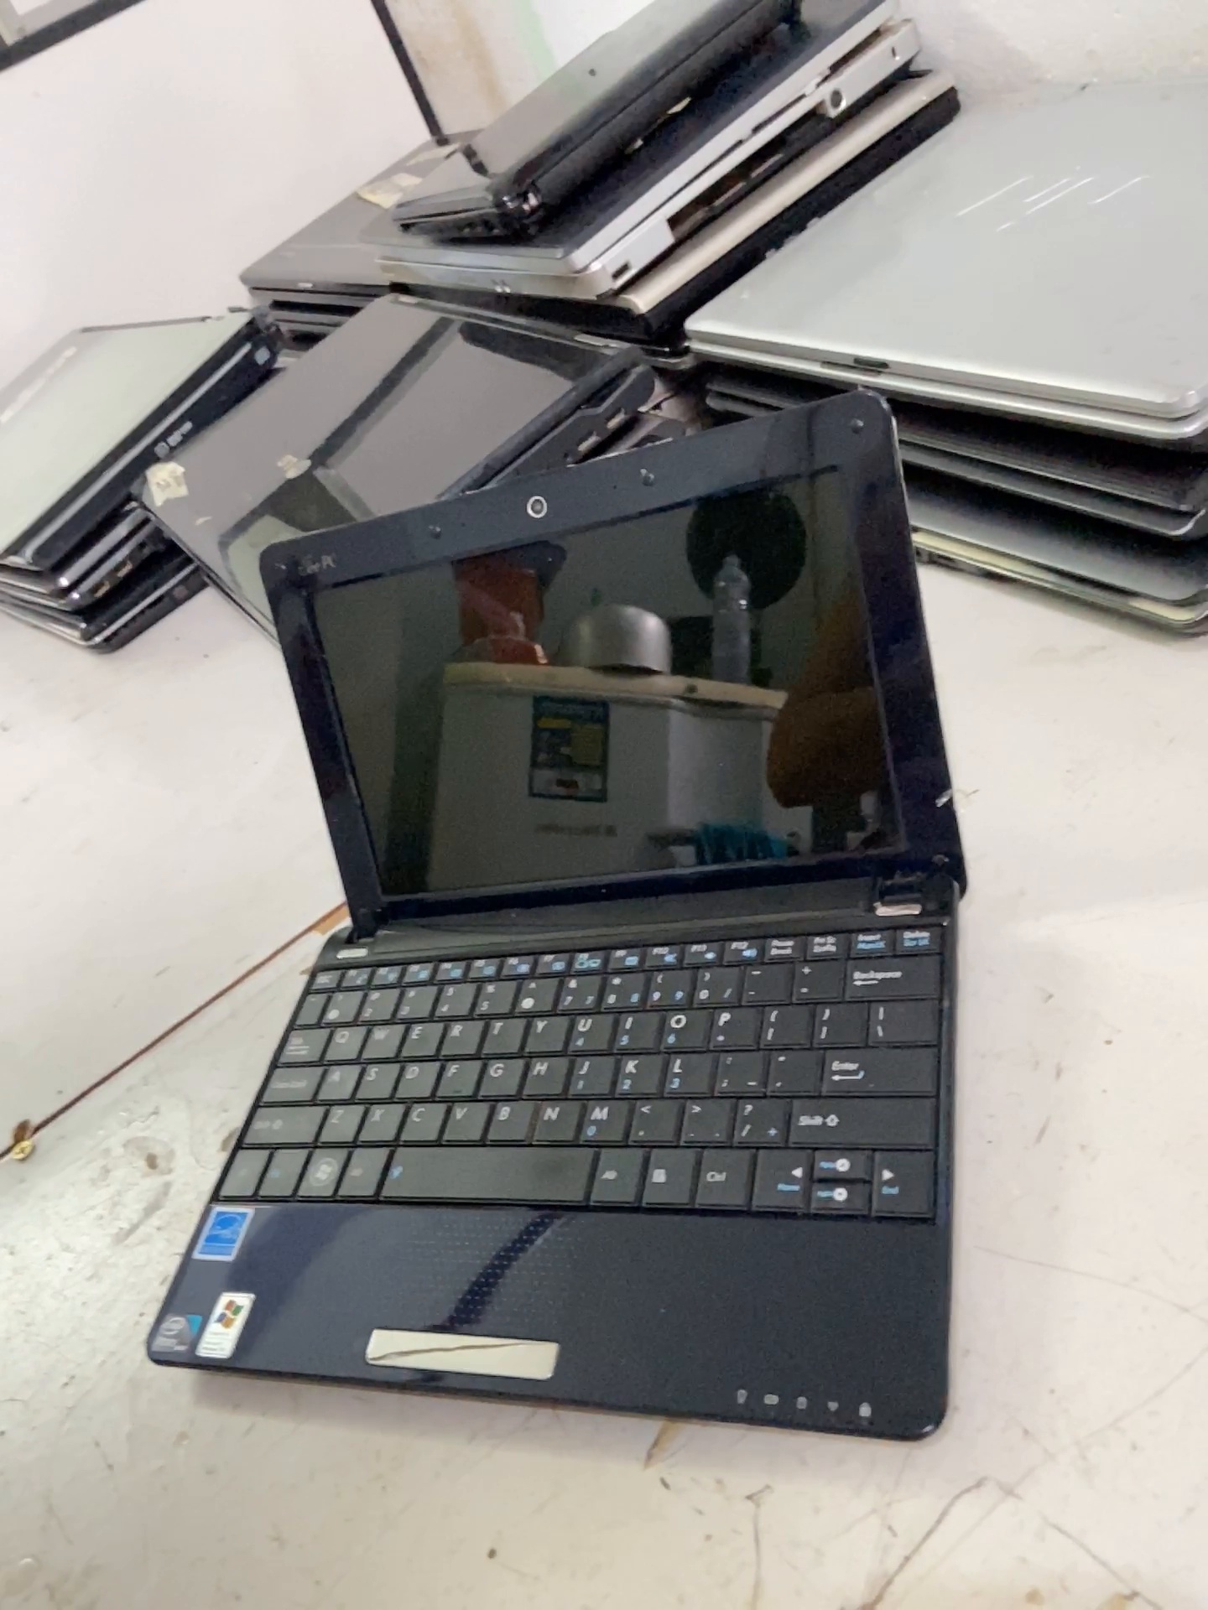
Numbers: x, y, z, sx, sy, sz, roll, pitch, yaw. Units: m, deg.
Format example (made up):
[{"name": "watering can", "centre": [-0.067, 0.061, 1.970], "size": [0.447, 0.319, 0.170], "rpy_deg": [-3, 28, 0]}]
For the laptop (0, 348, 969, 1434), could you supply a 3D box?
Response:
[{"name": "laptop", "centre": [-0.032, 0.019, 0.405], "size": [0.260, 0.133, 0.274], "rpy_deg": [-8, 43, 26]}]
